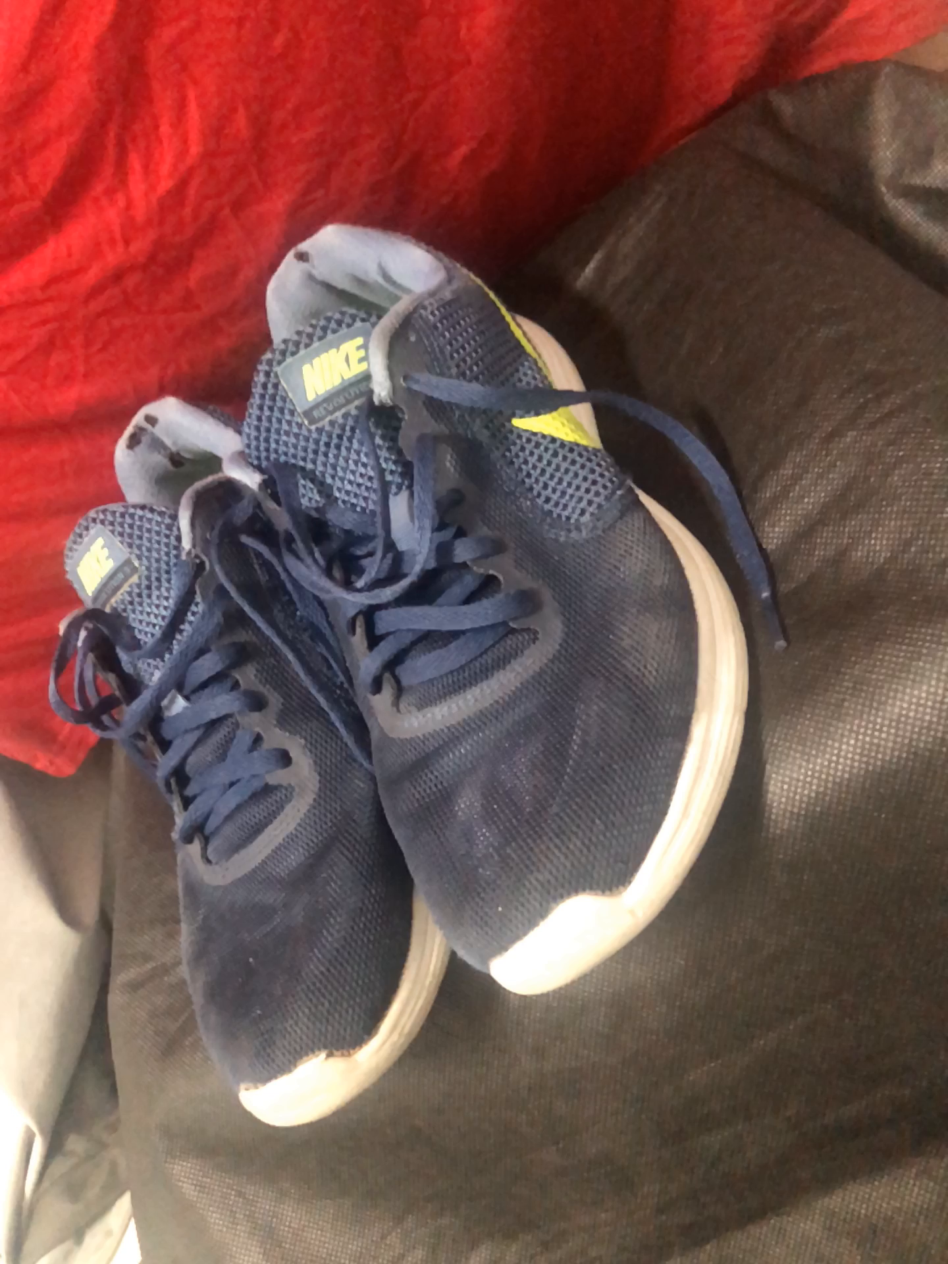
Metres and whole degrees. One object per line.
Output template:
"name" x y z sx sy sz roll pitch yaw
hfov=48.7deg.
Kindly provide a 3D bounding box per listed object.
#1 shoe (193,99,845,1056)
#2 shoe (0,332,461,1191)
"shoe" -0.008 -0.032 0.311 0.110 0.089 0.262 -36 43 25
"shoe" -0.094 0.033 0.336 0.110 0.099 0.232 -36 43 25
